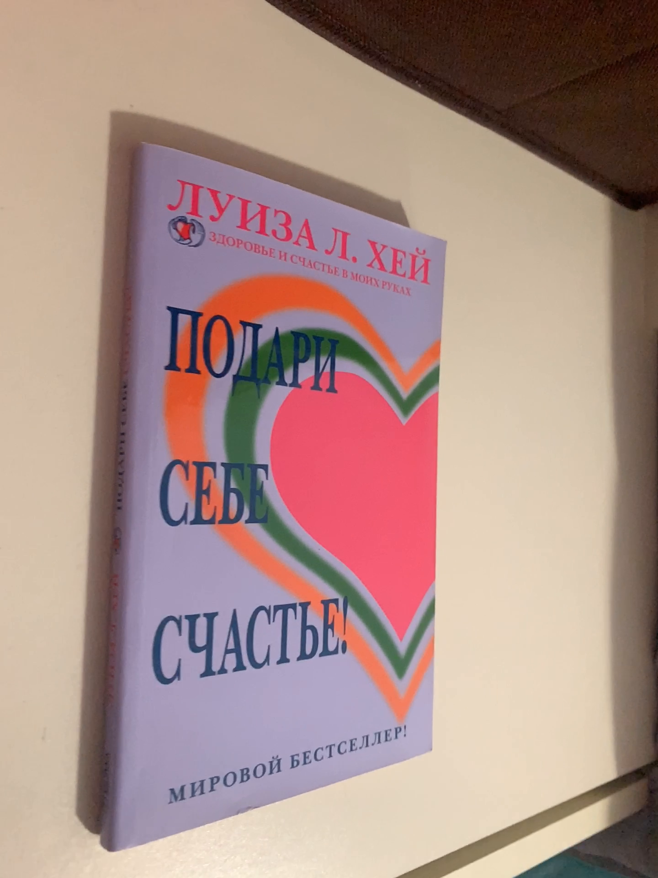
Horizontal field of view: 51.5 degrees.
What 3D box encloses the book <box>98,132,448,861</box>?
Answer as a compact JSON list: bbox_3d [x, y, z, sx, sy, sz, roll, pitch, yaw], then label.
[{"bbox_3d":[-0.009,0.016,0.227,0.124,0.016,0.194,4,86,-39],"label":"book"}]
